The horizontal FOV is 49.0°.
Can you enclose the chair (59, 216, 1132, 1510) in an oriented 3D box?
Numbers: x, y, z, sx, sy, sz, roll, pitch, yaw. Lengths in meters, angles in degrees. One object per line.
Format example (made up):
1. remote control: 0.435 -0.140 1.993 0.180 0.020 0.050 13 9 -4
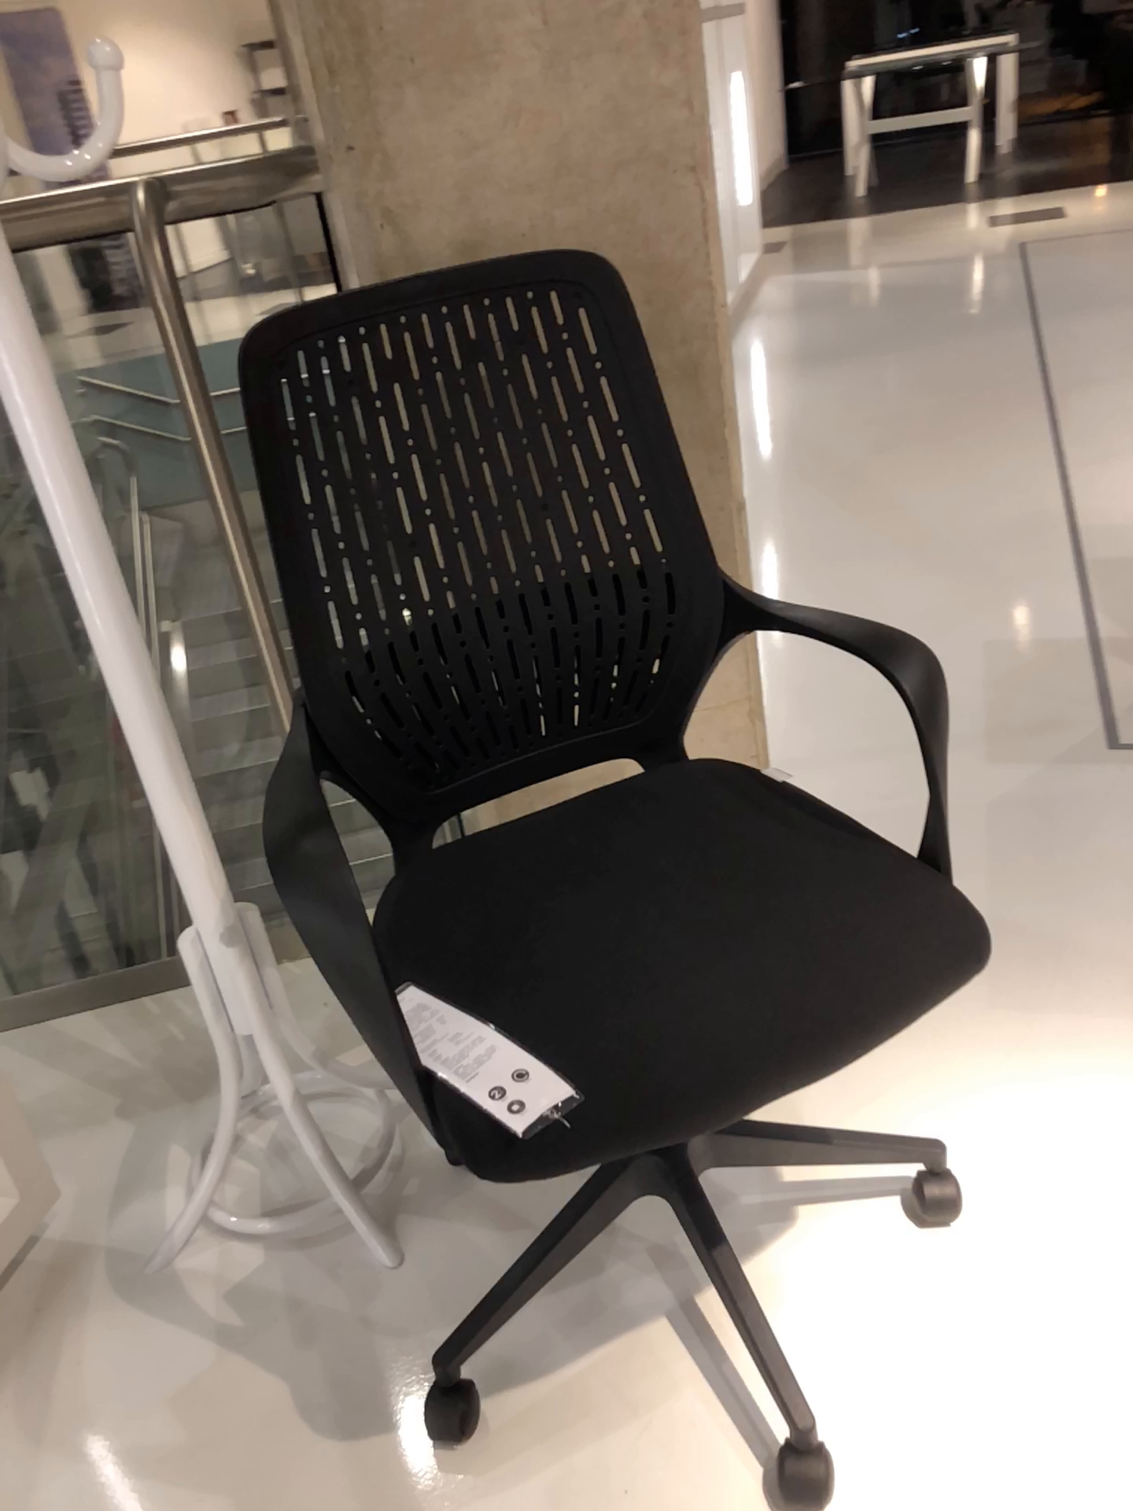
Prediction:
1. chair: 0.028 0.116 1.174 0.641 1.022 0.705 -18 30 -14
